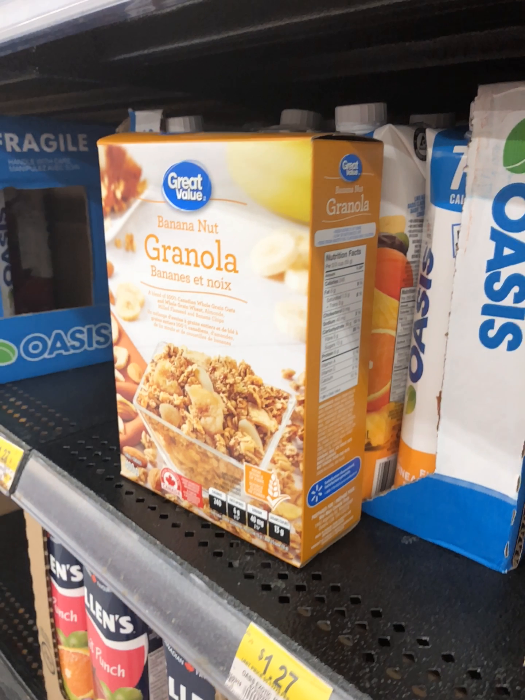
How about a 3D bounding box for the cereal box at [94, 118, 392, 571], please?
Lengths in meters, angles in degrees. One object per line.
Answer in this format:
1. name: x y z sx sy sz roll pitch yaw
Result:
1. cereal box: -0.019 -0.013 0.345 0.160 0.219 0.060 14 21 38
